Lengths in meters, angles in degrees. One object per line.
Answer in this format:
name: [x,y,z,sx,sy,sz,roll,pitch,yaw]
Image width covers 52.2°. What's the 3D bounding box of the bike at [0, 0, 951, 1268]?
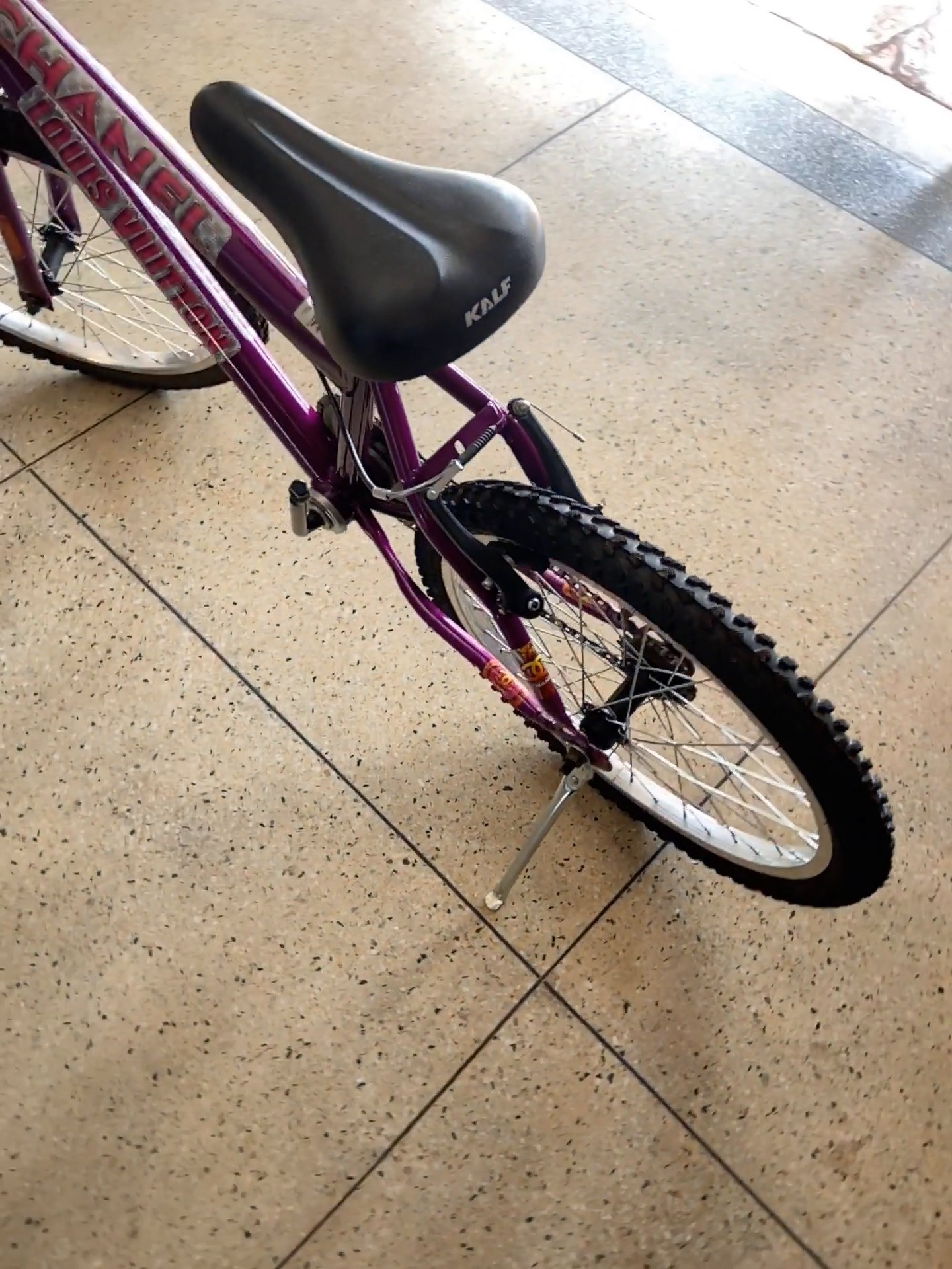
bike: [-0.208,-0.207,0.782,1.262,0.936,0.617,34,65,17]
